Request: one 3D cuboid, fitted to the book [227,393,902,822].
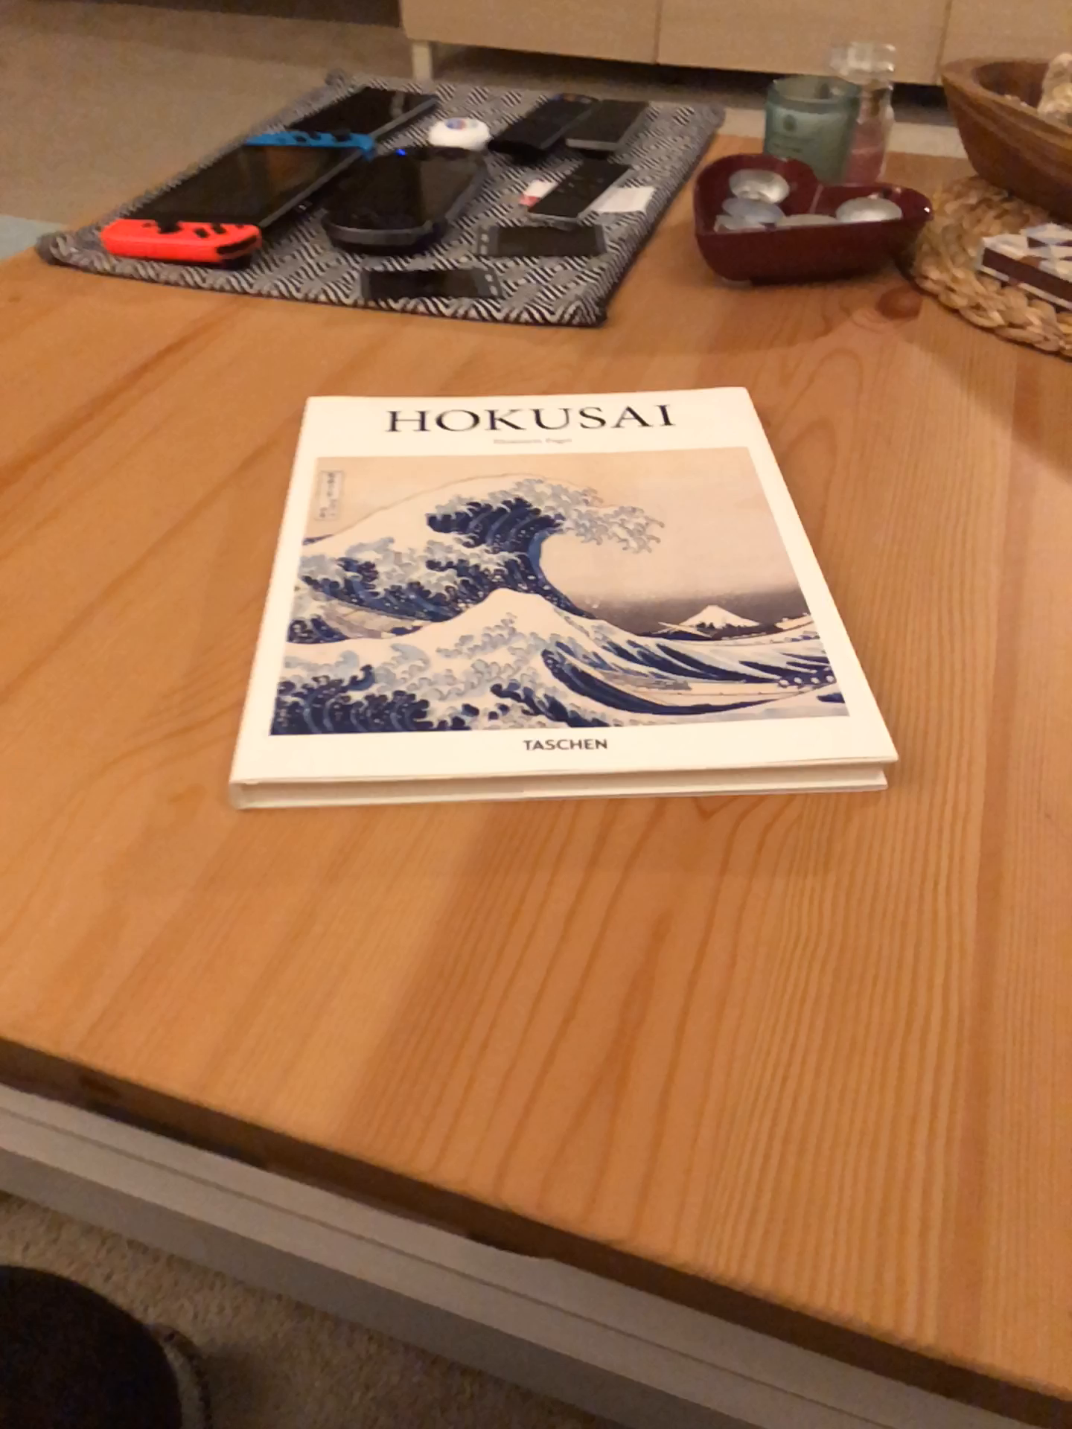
[{"bbox_3d":[0.004,-0.060,0.465,0.210,0.020,0.253,-2,41,-2],"label":"book"}]
